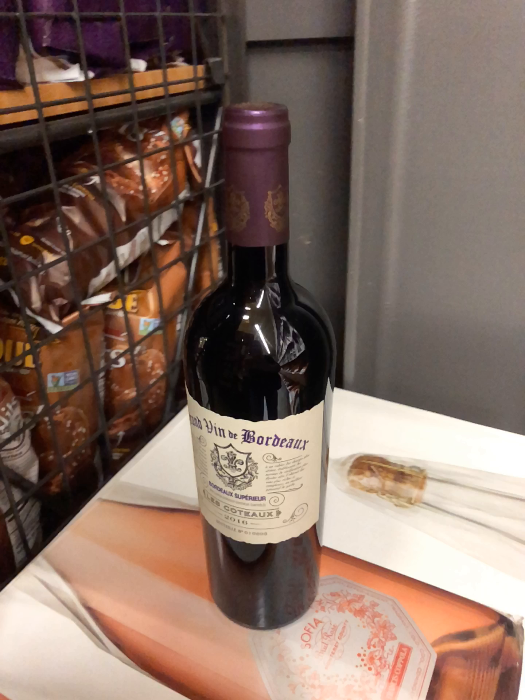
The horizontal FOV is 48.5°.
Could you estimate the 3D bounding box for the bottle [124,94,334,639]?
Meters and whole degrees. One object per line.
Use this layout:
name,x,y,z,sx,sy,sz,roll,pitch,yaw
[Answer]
bottle,-0.003,0.021,0.322,0.073,0.290,0.085,4,28,12
